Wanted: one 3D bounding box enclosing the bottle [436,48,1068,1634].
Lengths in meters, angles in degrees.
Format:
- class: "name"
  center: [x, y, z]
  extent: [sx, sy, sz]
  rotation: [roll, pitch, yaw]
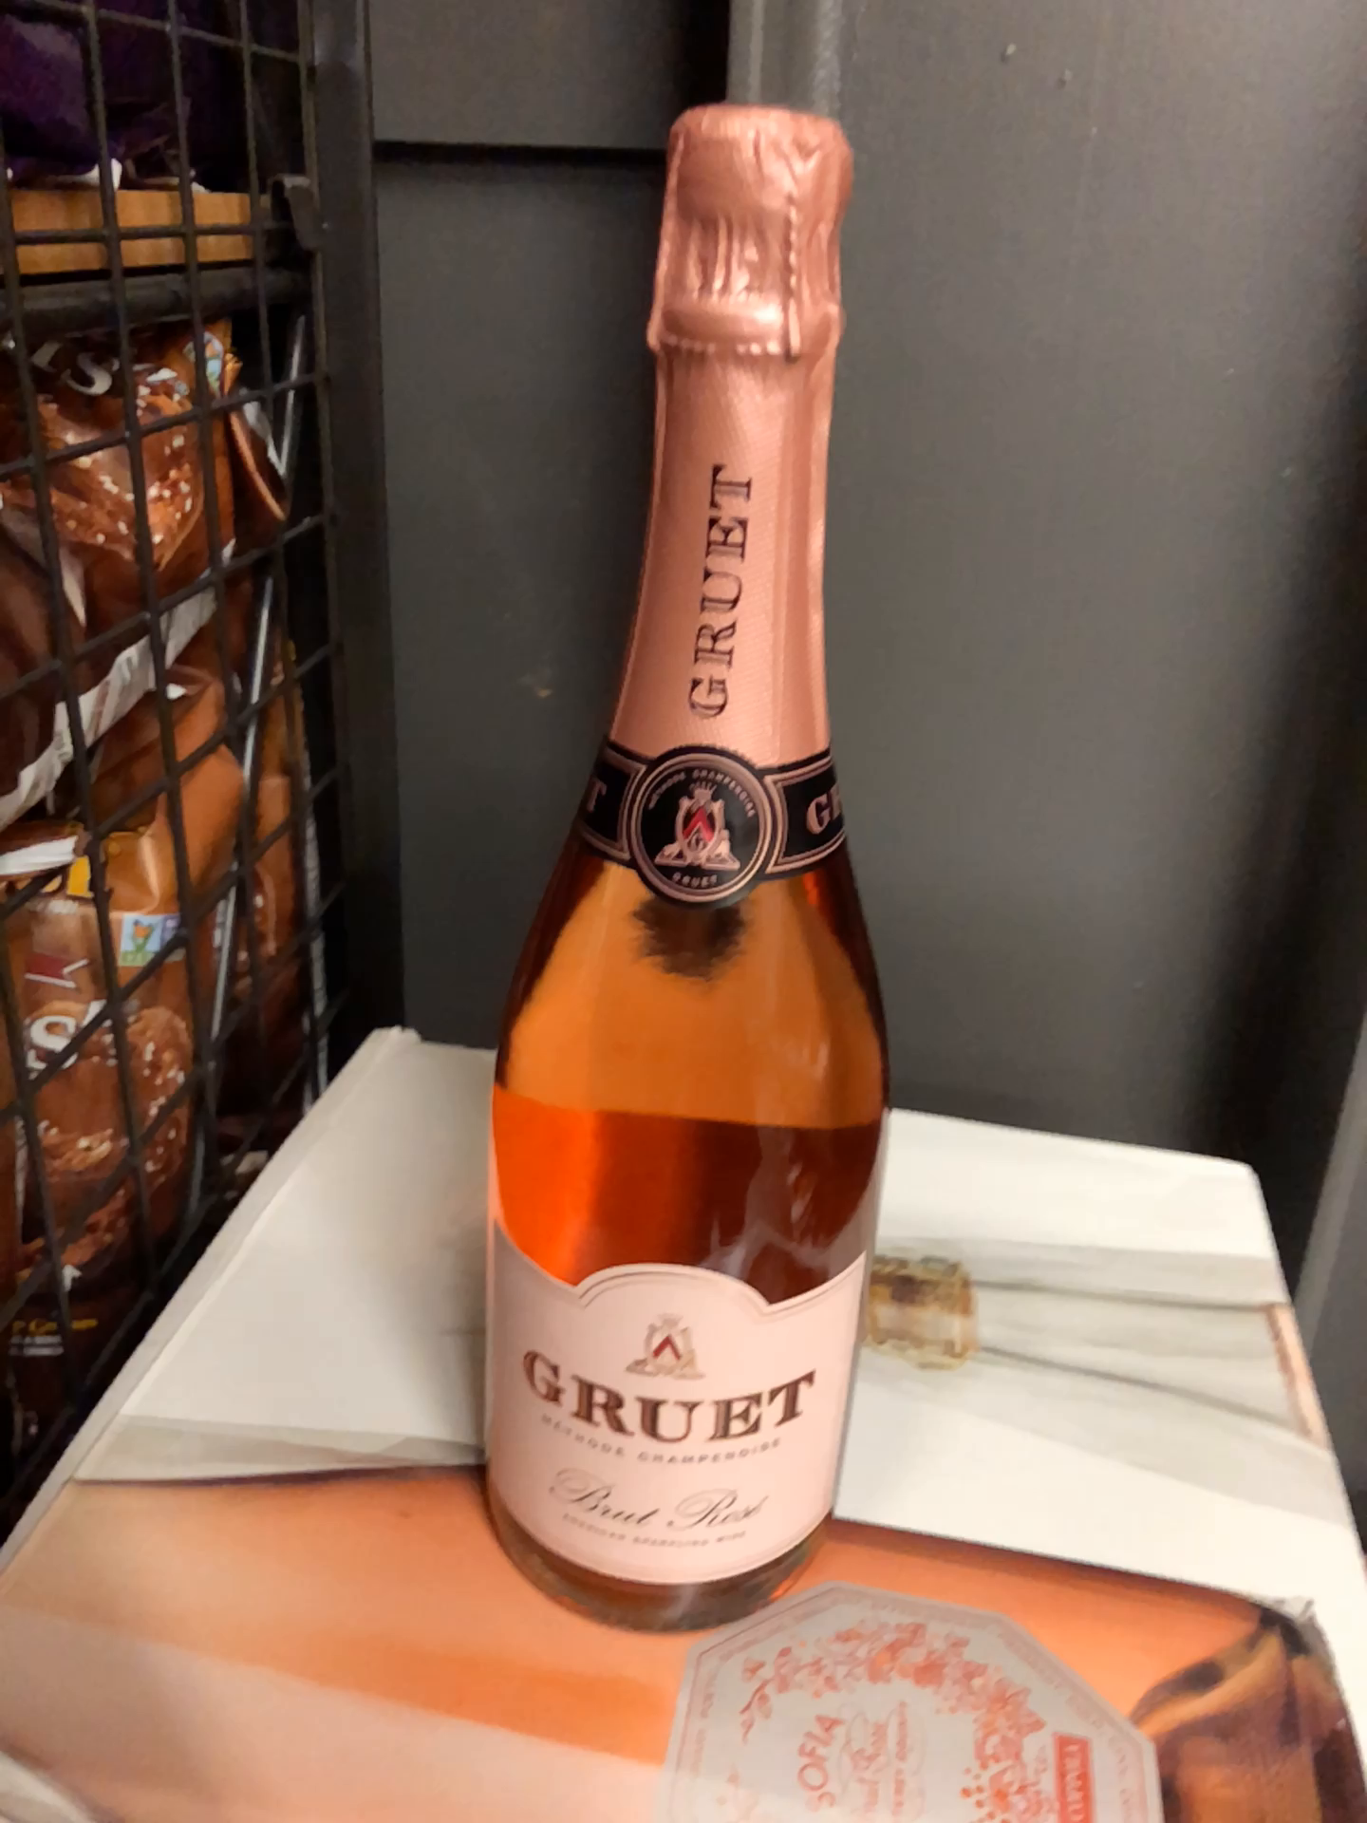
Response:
- class: "bottle"
  center: [0.005, 0.002, 0.320]
  extent: [0.090, 0.311, 0.090]
  rotation: [2, 24, -1]
